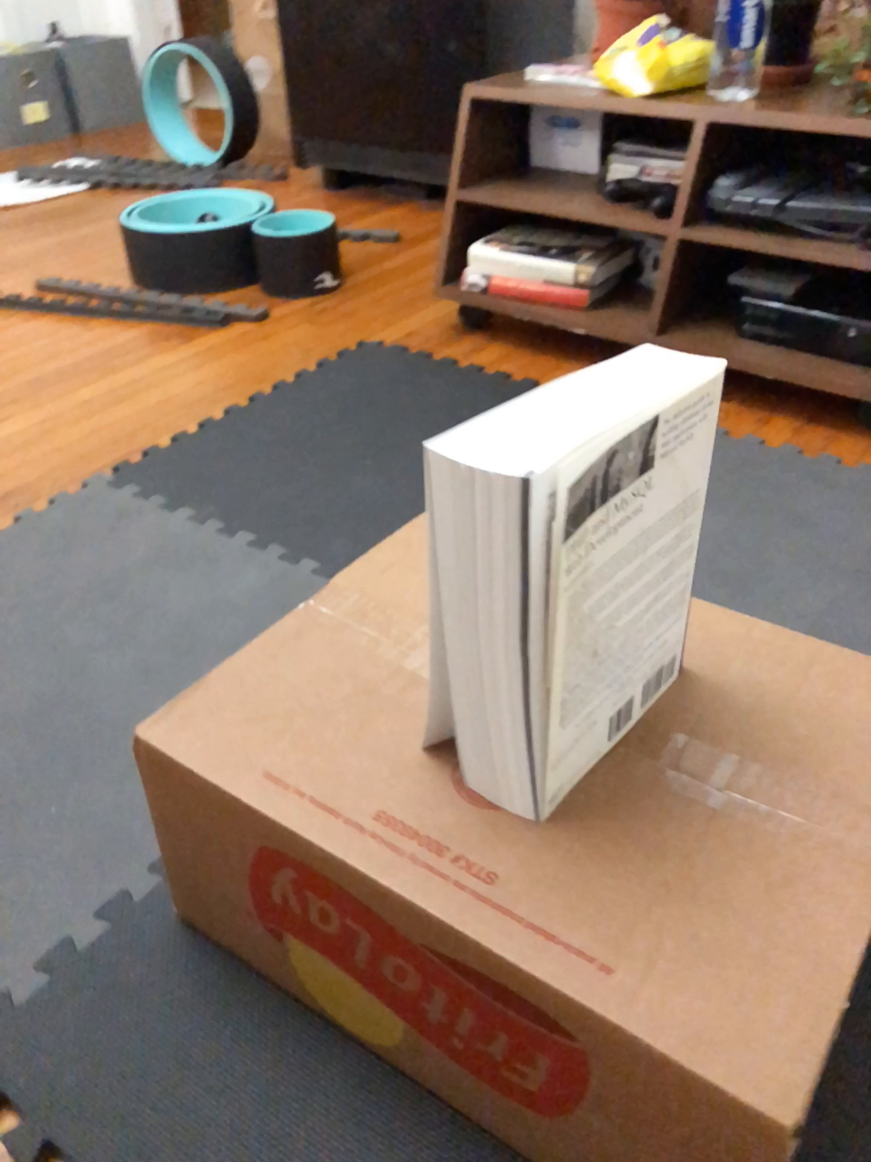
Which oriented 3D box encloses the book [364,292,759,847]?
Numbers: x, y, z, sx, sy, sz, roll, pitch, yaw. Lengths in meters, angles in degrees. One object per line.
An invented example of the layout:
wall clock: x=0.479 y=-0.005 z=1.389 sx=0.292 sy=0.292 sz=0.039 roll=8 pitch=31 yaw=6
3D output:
book: x=0.076 y=-0.010 z=0.570 sx=0.201 sy=0.258 sz=0.090 roll=-27 pitch=40 yaw=-31
